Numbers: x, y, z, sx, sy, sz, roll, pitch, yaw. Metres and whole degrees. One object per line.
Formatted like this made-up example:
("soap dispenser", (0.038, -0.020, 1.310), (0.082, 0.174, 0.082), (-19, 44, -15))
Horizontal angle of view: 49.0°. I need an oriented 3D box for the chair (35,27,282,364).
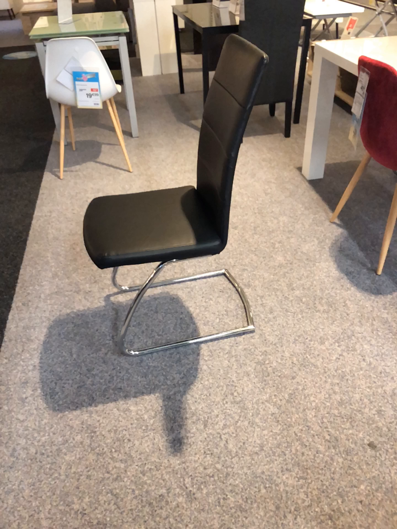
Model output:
("chair", (-0.109, -0.216, 1.436), (0.561, 0.905, 0.492), (-10, 37, -9))
